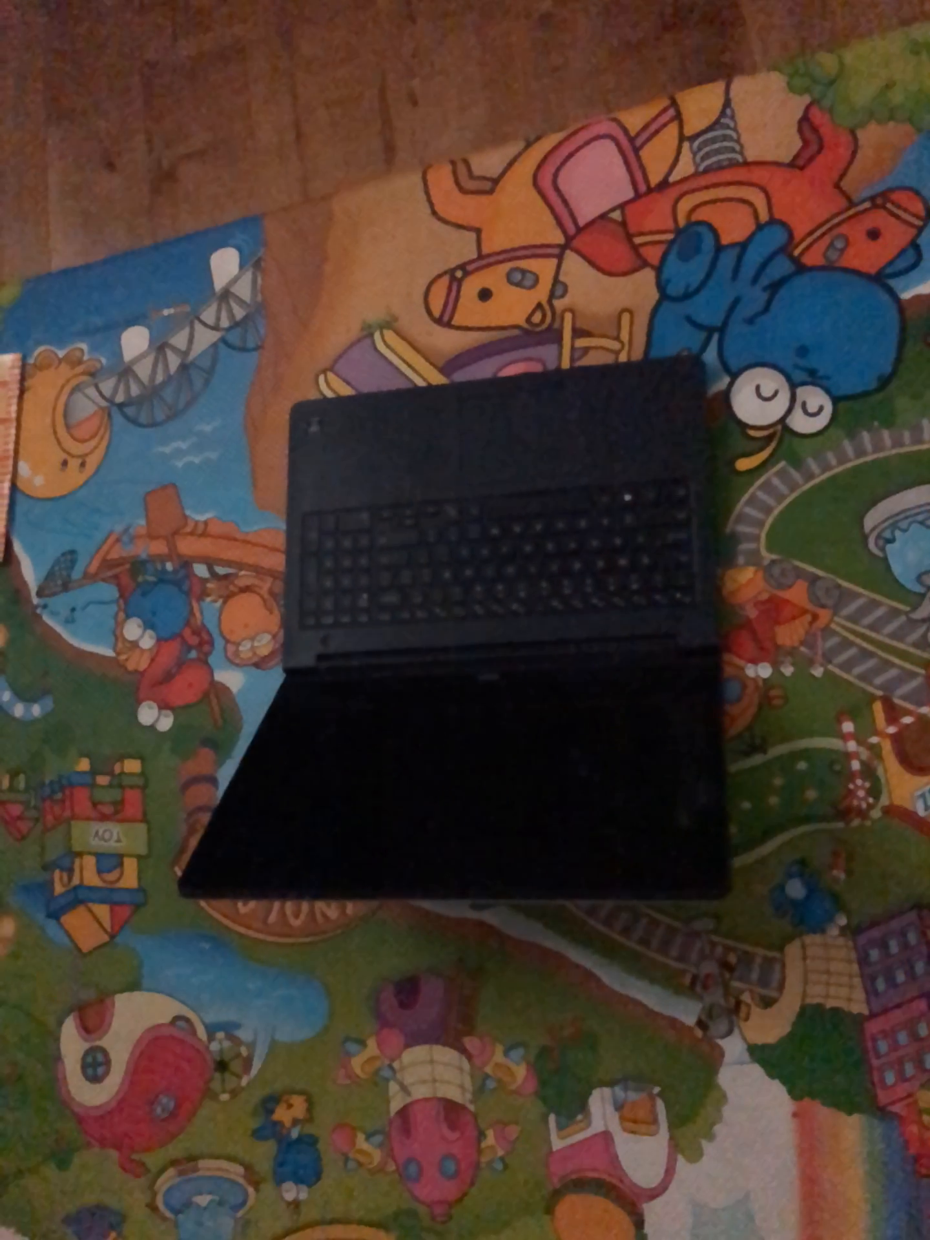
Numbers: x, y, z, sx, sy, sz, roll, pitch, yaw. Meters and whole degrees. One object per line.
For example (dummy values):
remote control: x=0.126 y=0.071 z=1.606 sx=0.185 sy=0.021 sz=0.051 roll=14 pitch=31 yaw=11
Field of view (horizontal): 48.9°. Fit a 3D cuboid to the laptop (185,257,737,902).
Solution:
laptop: x=0.003 y=-0.015 z=0.774 sx=0.361 sy=0.159 sz=0.429 roll=-4 pitch=76 yaw=14
